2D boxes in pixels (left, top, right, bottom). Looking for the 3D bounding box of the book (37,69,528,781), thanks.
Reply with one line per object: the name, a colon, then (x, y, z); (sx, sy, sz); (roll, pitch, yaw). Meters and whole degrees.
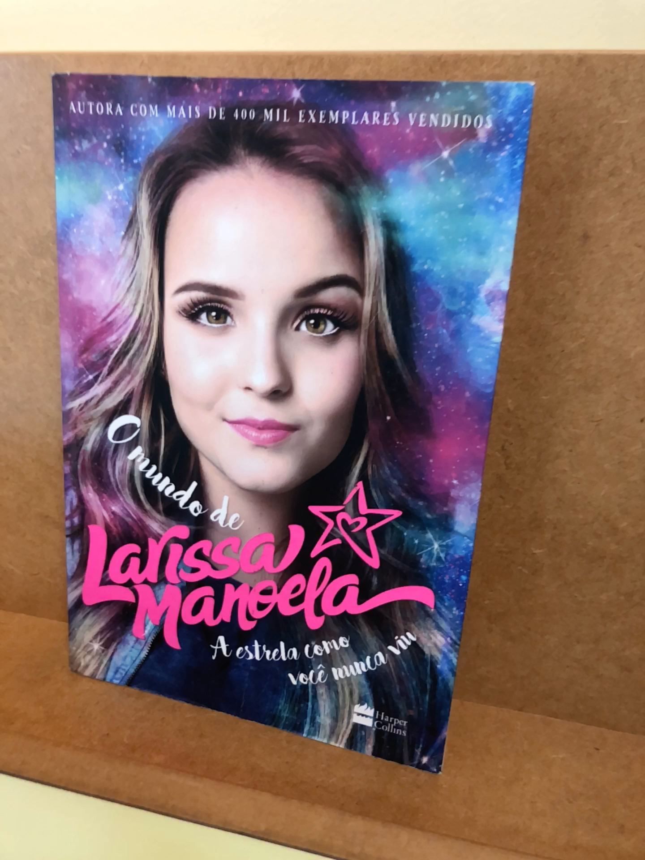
book: (-0.022, 0.001, 0.246); (0.150, 0.221, 0.020); (8, 16, 16)
